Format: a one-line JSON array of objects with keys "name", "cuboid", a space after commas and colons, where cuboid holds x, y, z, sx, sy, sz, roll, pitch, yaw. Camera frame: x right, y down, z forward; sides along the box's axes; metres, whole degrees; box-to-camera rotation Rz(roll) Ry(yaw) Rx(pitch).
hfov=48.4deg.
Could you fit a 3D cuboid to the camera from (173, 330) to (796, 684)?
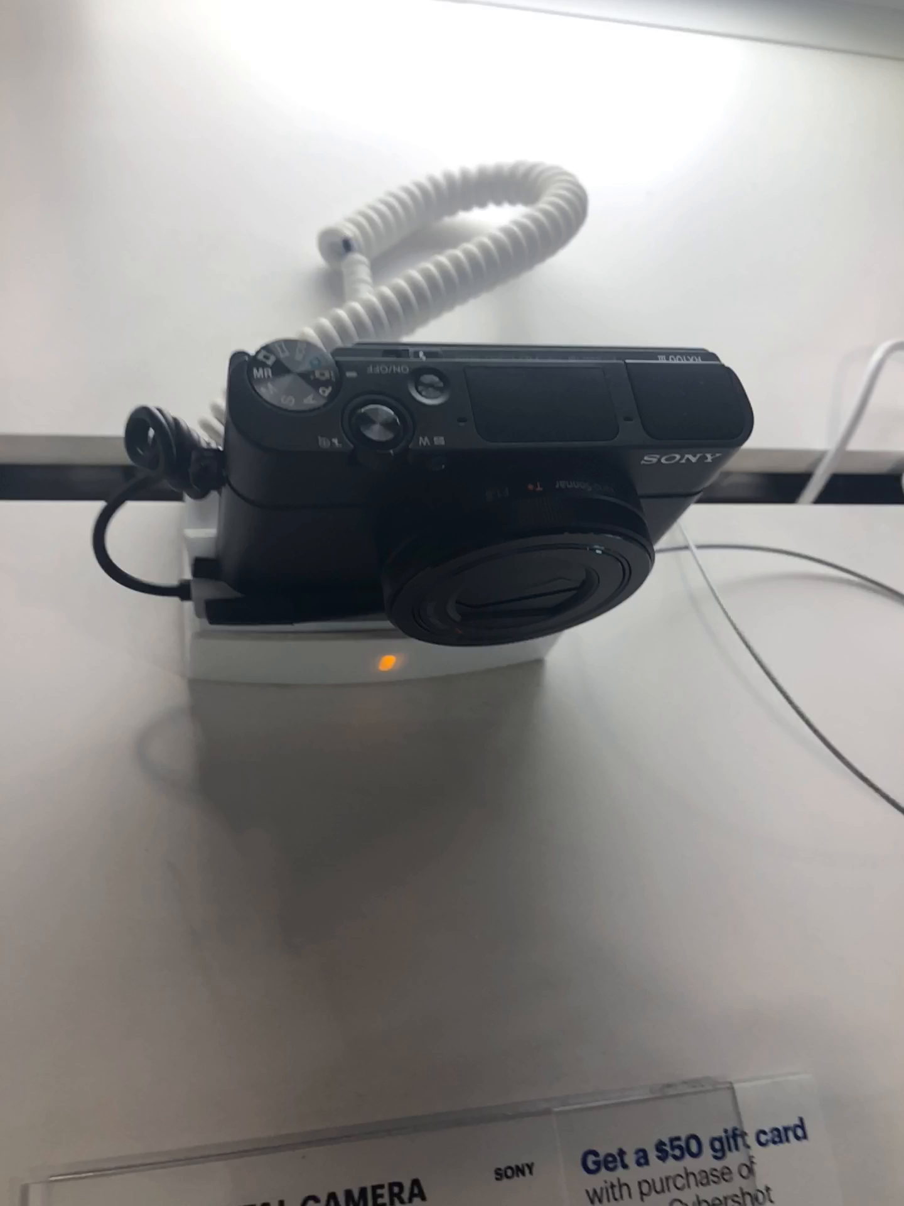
[{"name": "camera", "cuboid": [0.002, -0.018, 0.192, 0.102, 0.051, 0.041, -4, 63, -15]}]
